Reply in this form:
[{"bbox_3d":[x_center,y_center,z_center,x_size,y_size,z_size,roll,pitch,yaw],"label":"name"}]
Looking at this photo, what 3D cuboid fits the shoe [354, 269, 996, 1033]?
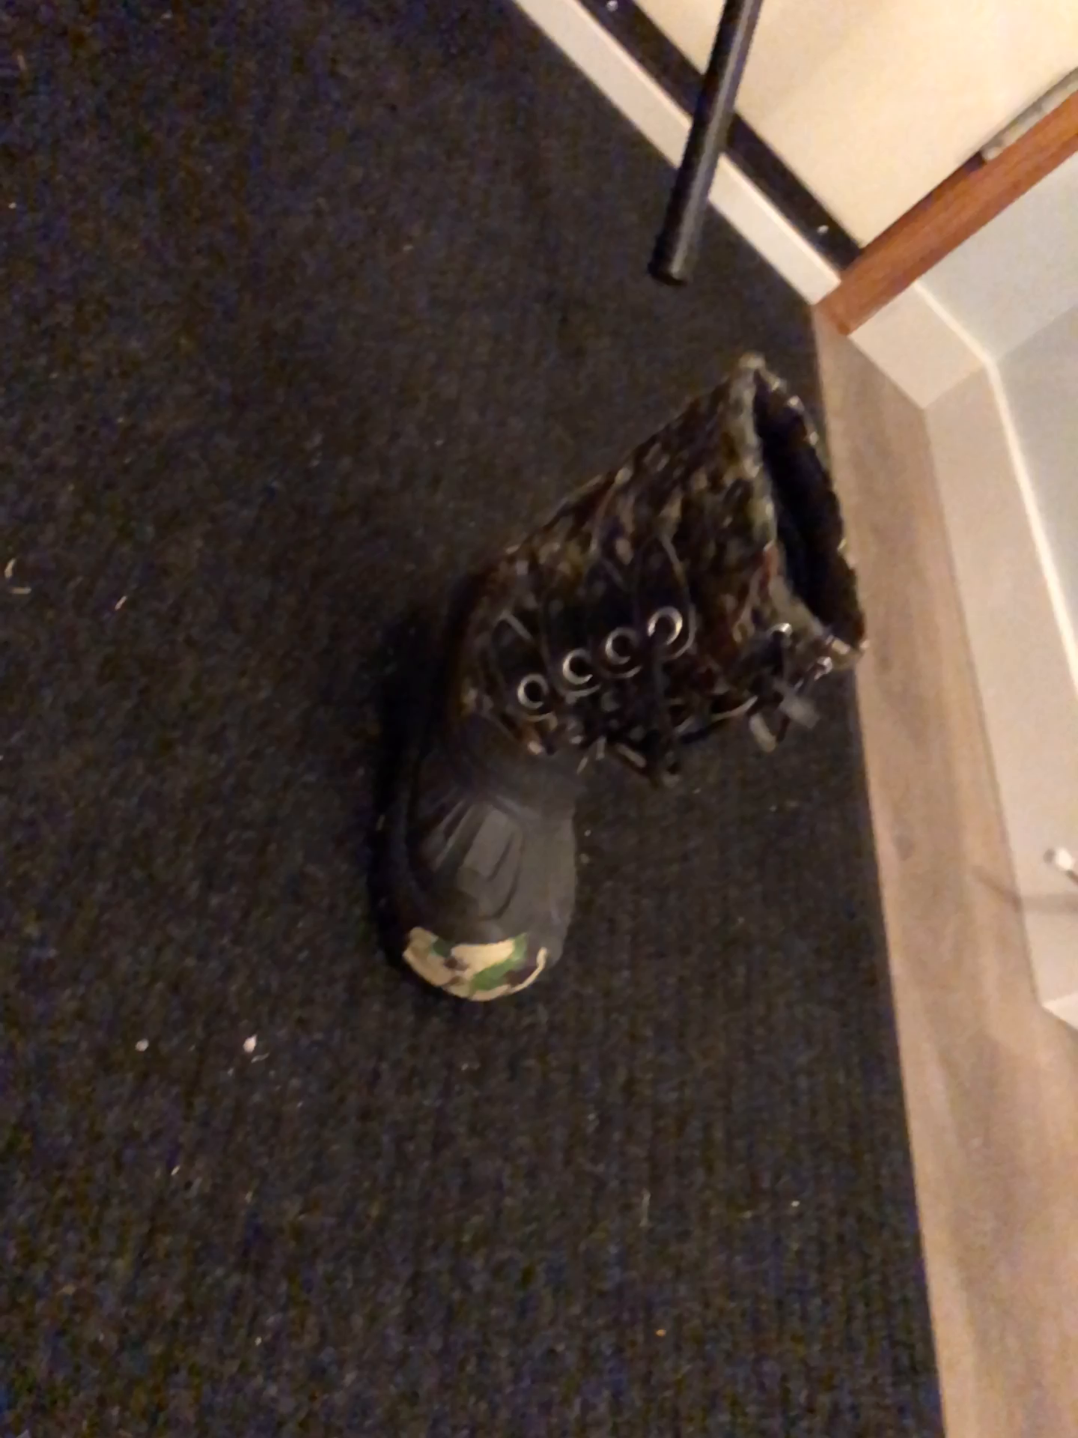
[{"bbox_3d":[0.031,-0.016,0.468,0.100,0.209,0.200,24,46,-35],"label":"shoe"}]
